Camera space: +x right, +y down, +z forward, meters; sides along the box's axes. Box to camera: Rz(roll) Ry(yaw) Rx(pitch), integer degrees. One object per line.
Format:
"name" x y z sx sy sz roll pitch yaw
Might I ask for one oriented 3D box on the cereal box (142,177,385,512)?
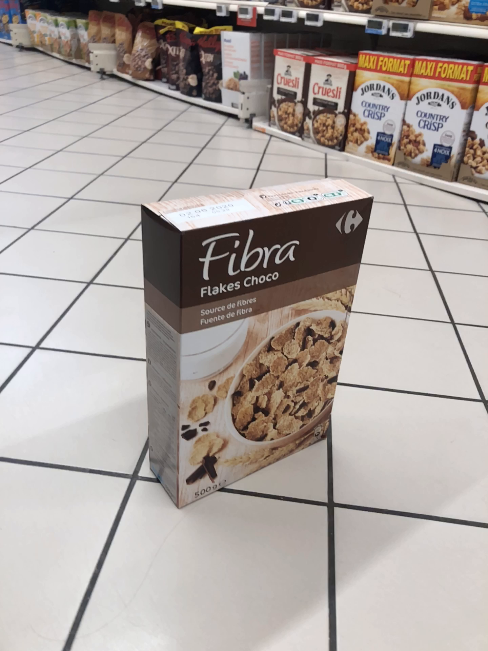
"cereal box" 0.013 0.017 0.516 0.201 0.278 0.070 -17 38 -32
